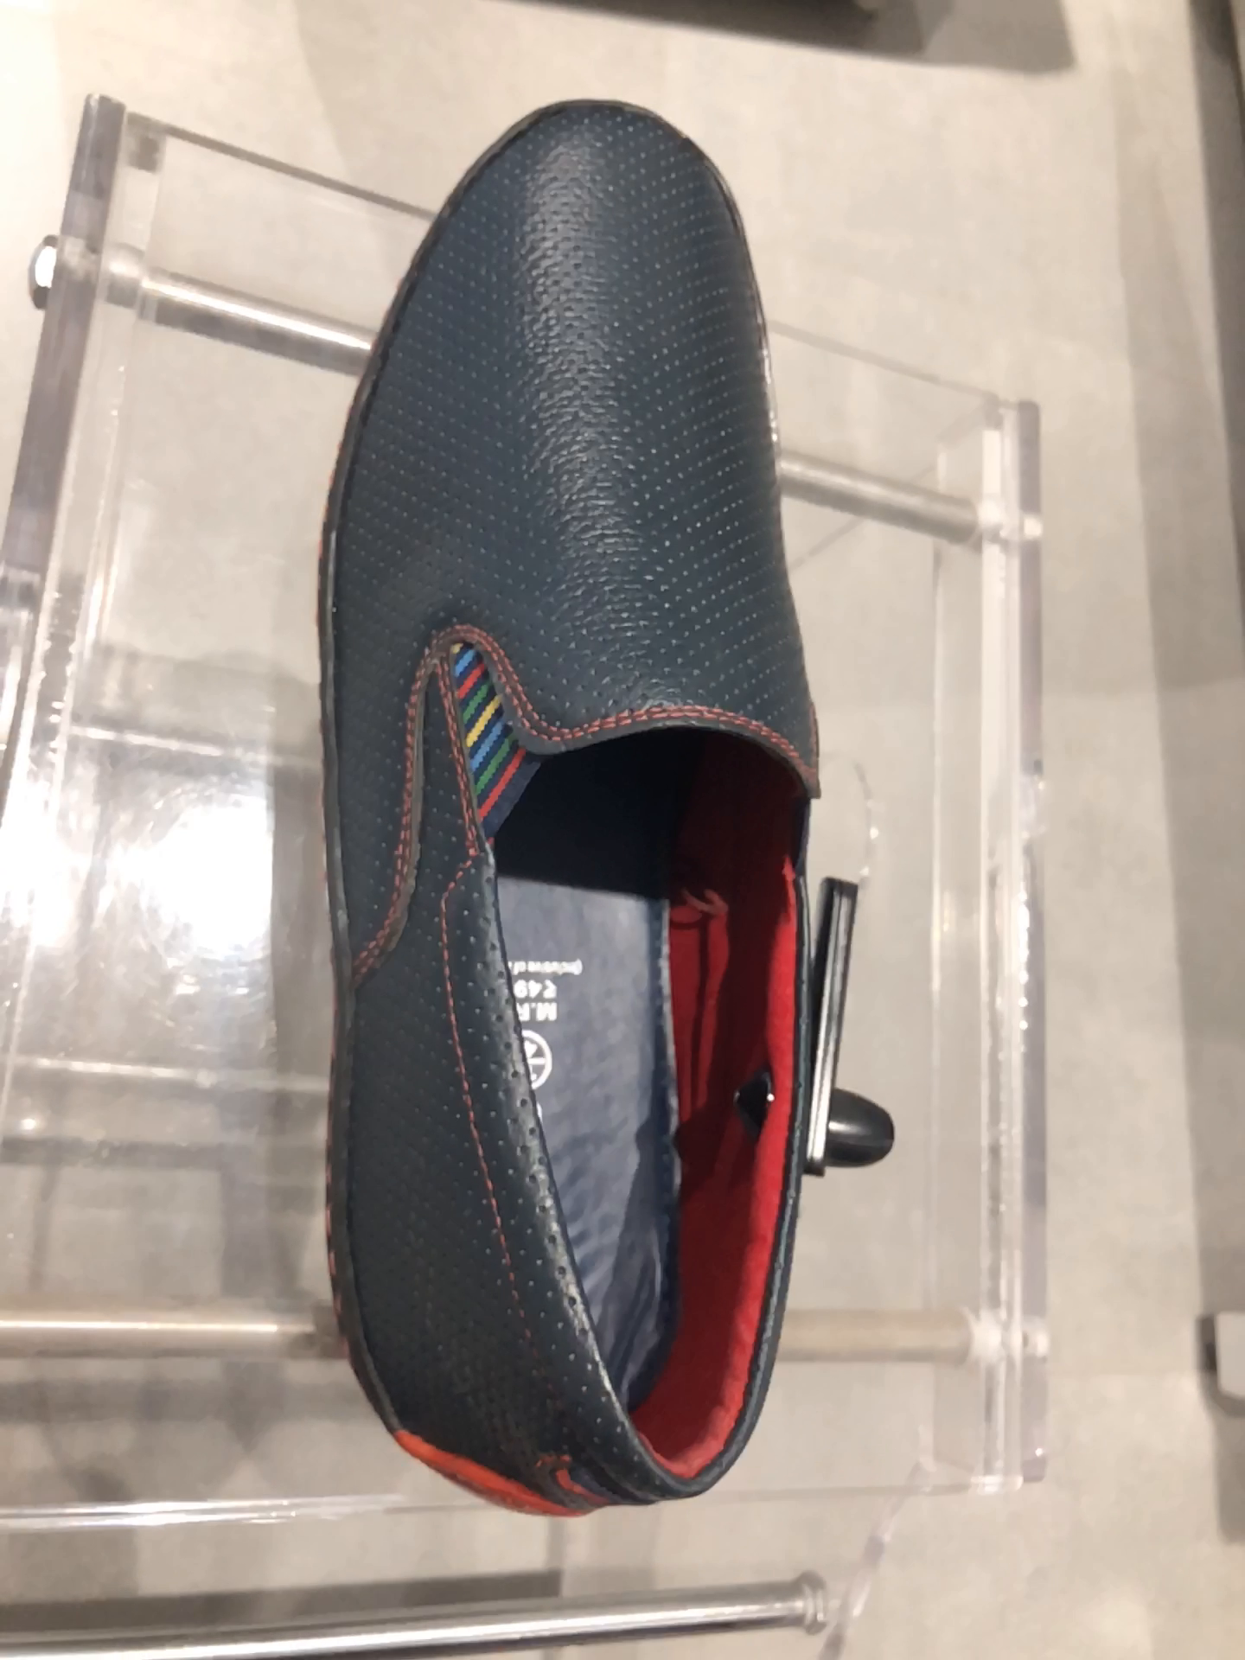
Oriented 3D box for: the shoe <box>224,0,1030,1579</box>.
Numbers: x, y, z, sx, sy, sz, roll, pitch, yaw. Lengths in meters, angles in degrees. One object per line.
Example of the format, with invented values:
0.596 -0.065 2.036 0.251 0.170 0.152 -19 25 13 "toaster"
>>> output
-0.004 -0.022 0.272 0.110 0.100 0.270 6 76 -22 "shoe"
